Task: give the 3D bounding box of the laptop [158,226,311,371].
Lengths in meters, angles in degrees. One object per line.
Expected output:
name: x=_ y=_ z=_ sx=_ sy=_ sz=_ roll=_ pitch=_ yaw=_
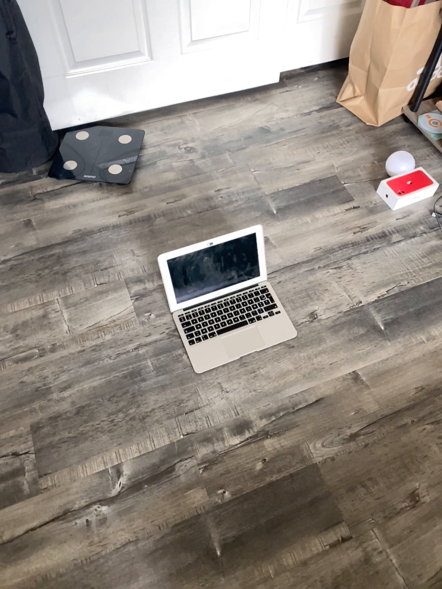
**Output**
laptop: x=0.025 y=0.004 z=1.150 sx=0.290 sy=0.159 sz=0.255 roll=-19 pitch=57 yaw=-14
